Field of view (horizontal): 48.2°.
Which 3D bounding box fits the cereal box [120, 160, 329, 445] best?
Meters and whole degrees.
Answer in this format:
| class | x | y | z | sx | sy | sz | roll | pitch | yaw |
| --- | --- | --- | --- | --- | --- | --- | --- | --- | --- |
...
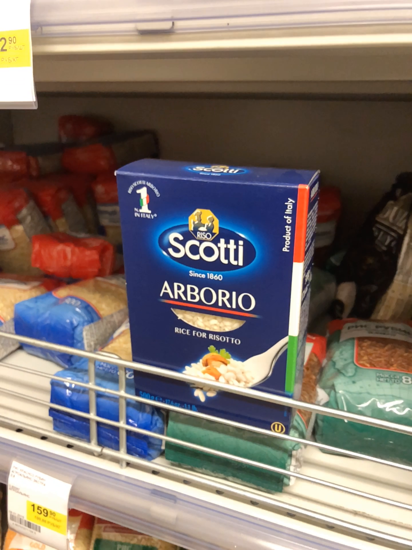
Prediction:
| class | x | y | z | sx | sy | sz | roll | pitch | yaw |
| --- | --- | --- | --- | --- | --- | --- | --- | --- | --- |
| cereal box | 0.012 | 0.014 | 0.292 | 0.110 | 0.159 | 0.050 | 7 | 22 | 19 |
